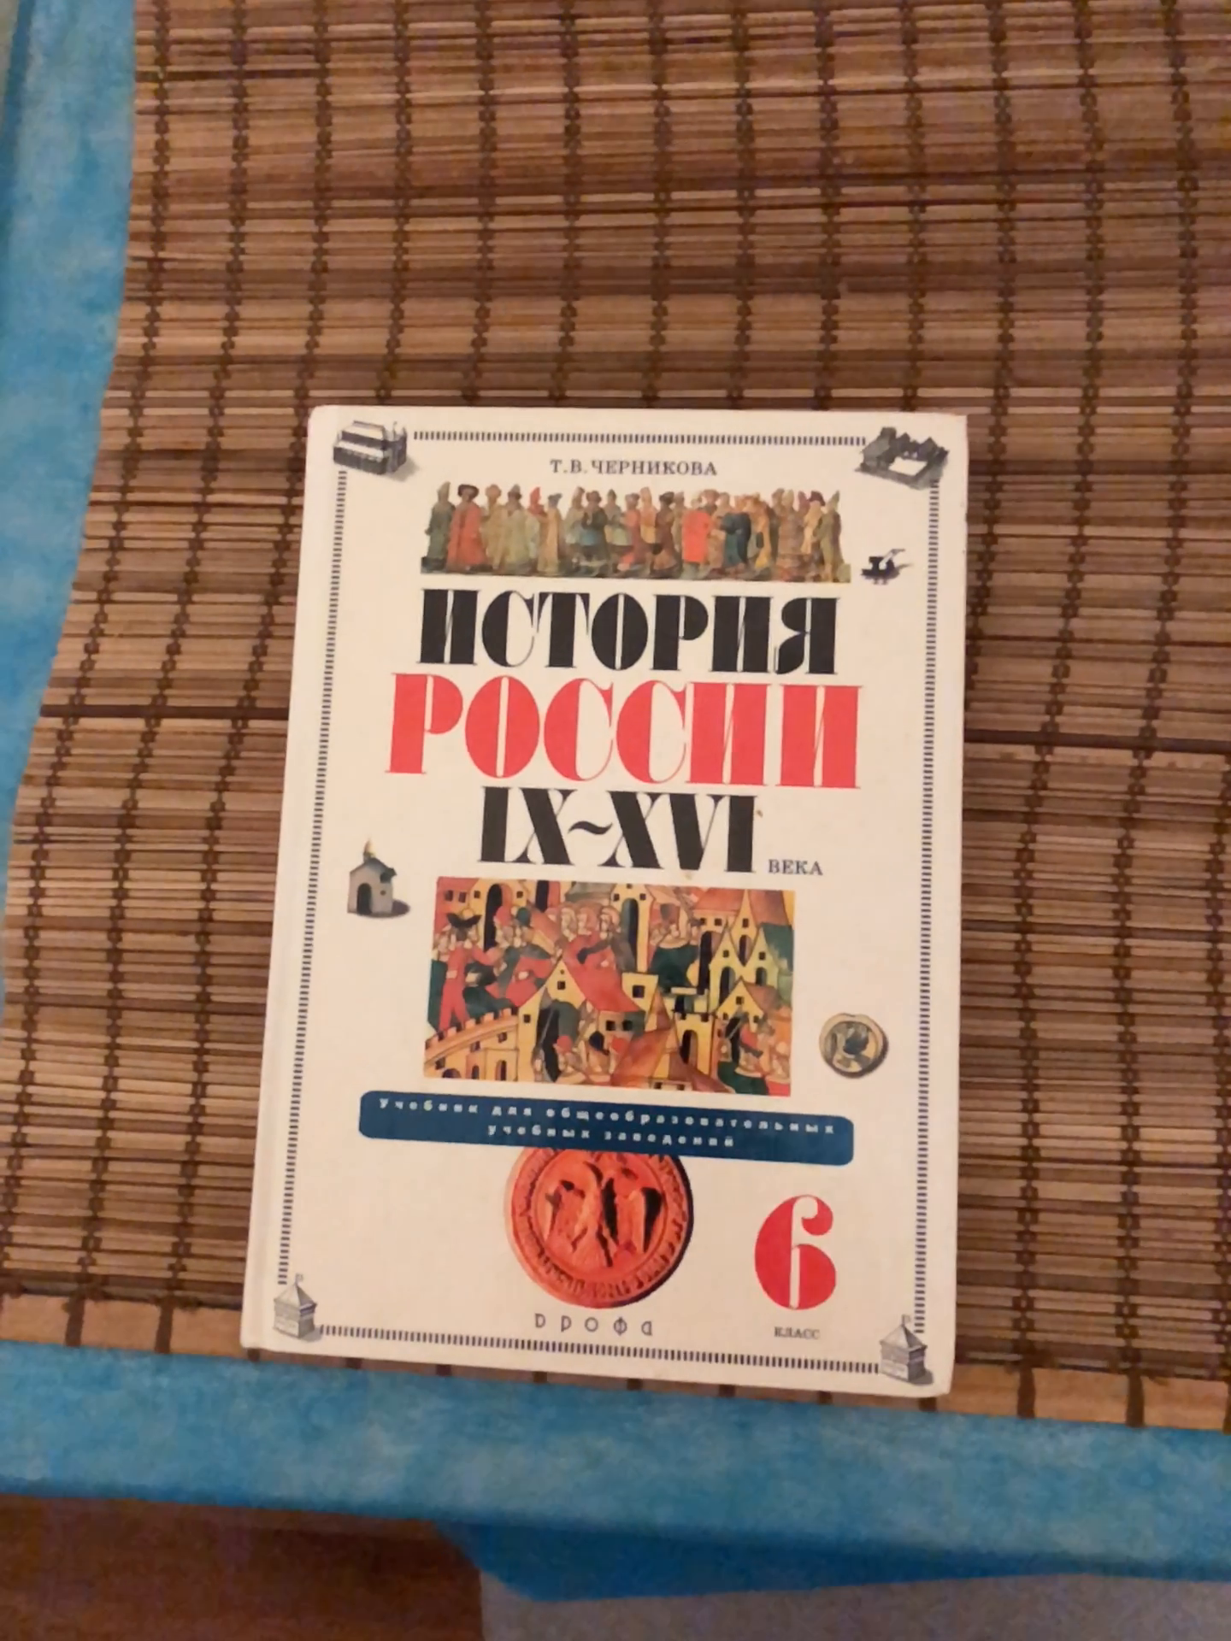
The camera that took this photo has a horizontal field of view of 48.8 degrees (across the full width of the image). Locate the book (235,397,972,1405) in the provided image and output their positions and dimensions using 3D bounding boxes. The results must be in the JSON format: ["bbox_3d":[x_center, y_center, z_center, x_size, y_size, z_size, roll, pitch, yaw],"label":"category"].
[{"bbox_3d":[0.000,0.012,0.346,0.169,0.029,0.240,2,82,6],"label":"book"}]
